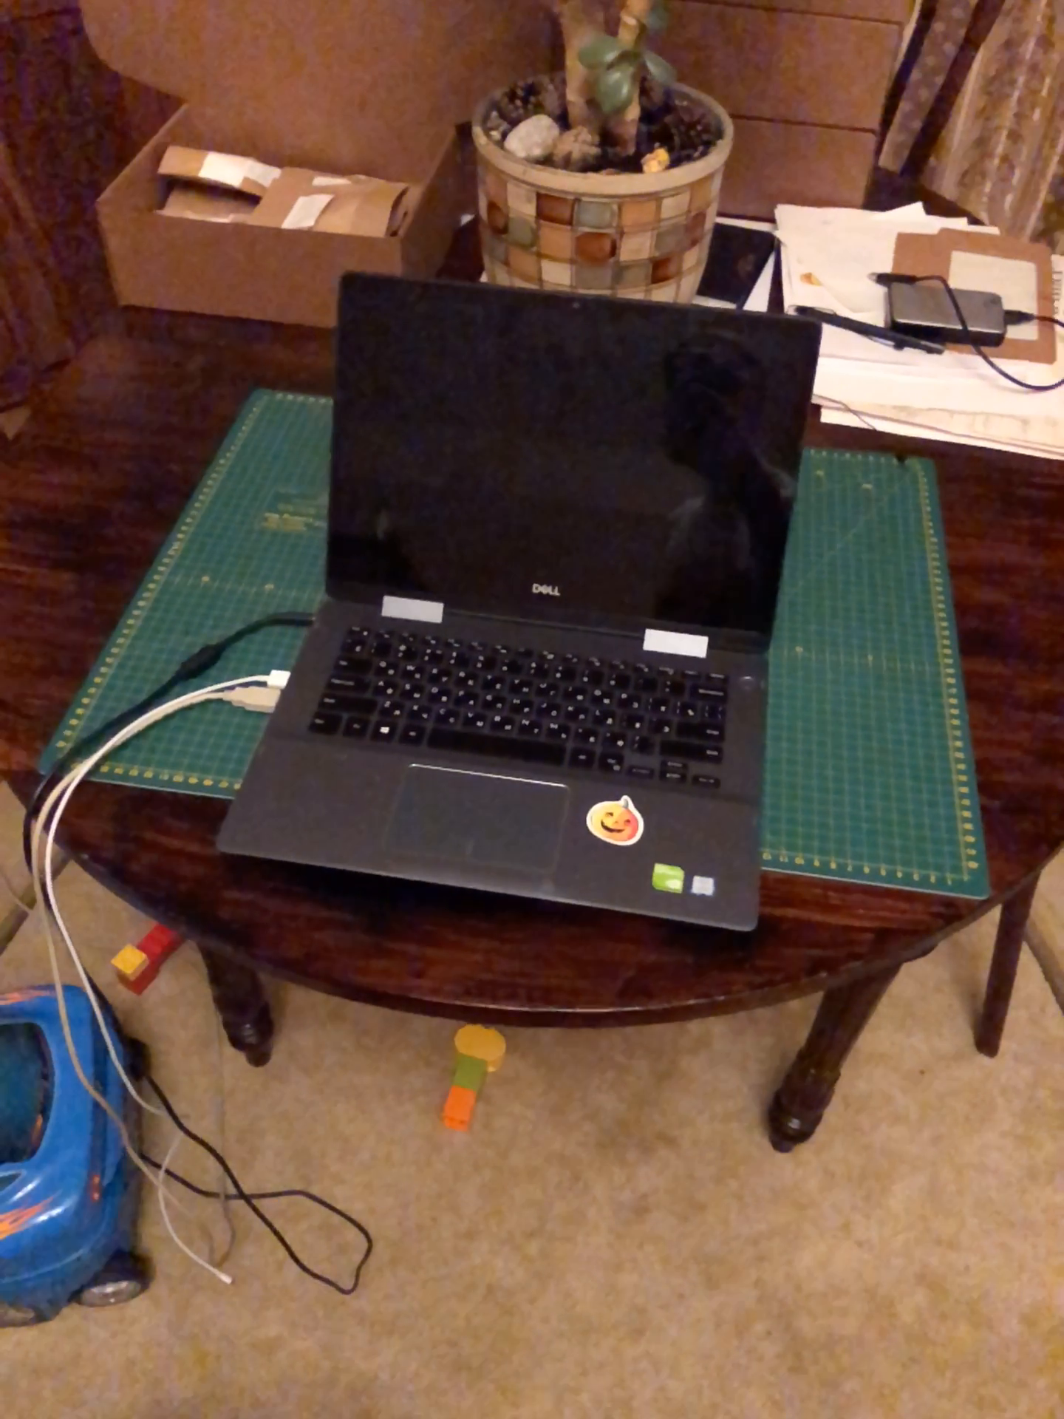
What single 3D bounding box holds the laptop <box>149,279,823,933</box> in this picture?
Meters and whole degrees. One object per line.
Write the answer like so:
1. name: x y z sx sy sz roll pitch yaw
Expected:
1. laptop: 0.001 -0.081 0.731 0.320 0.192 0.339 8 48 6
